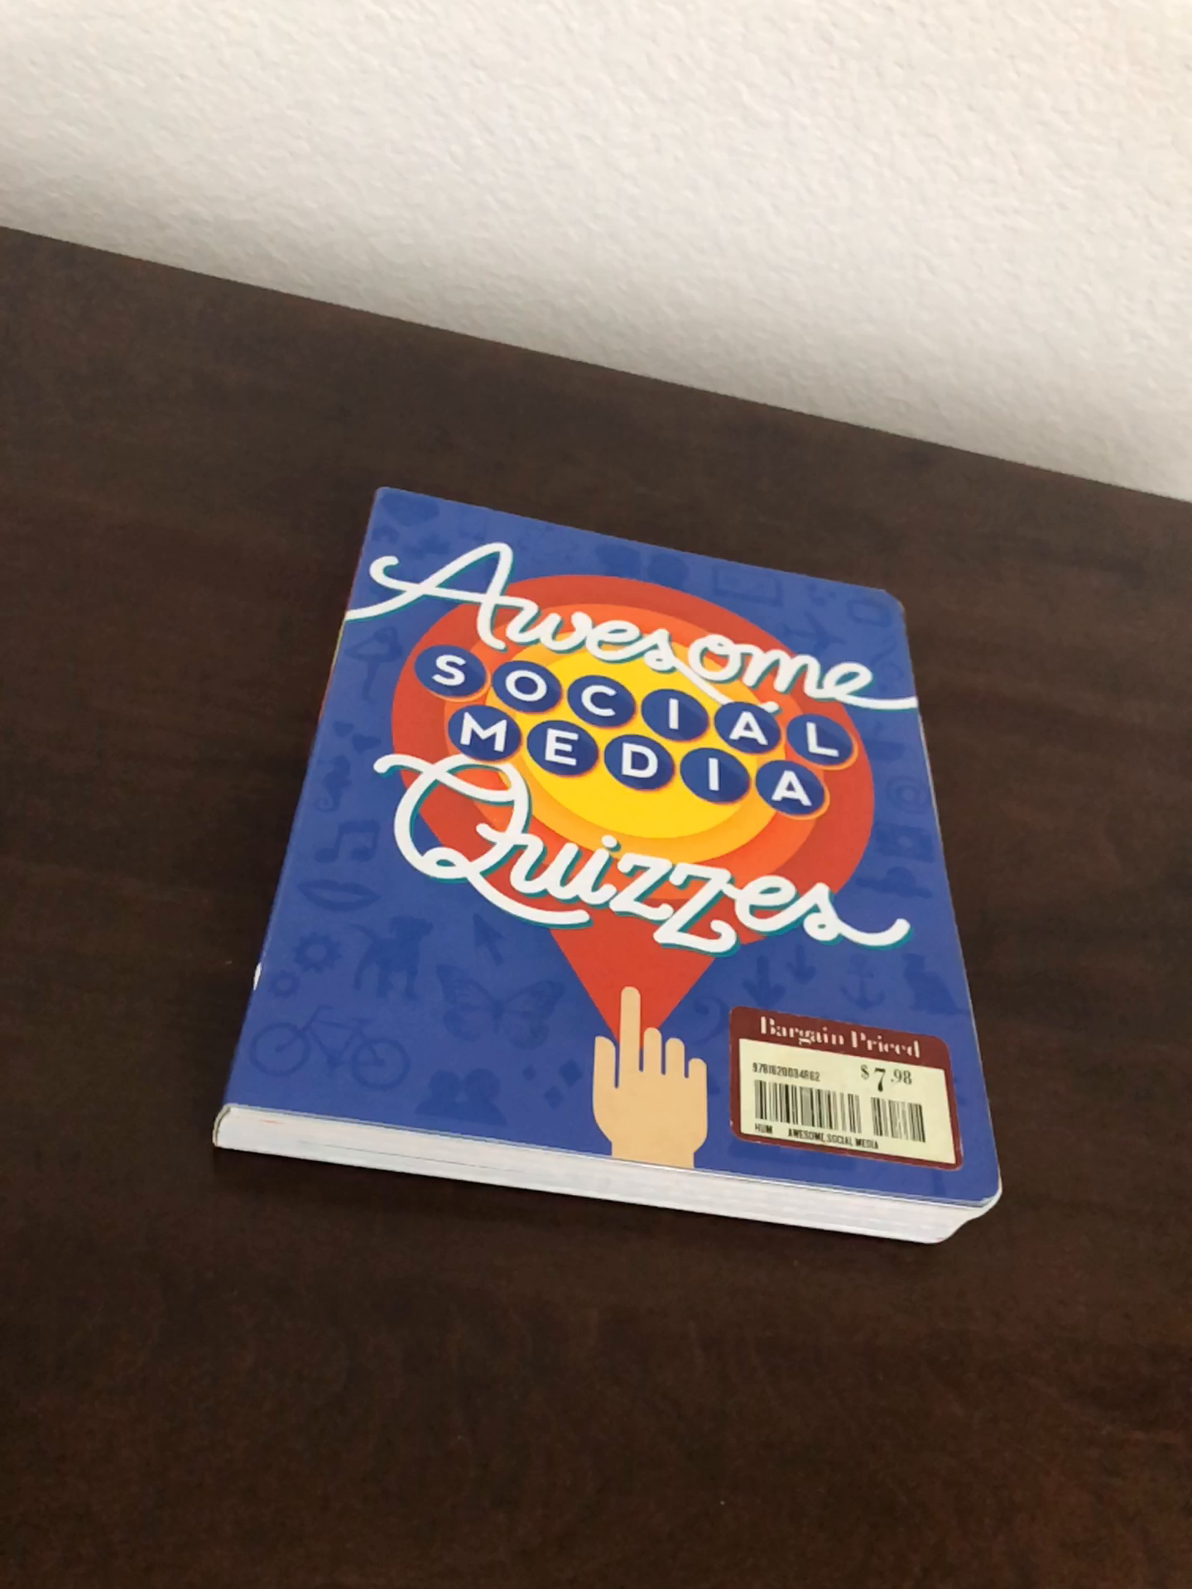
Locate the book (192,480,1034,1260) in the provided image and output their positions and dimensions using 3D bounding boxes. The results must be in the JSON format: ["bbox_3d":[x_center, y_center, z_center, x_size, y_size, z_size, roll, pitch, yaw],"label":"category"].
[{"bbox_3d":[0.010,0.005,0.338,0.172,0.020,0.202,10,48,-8],"label":"book"}]
